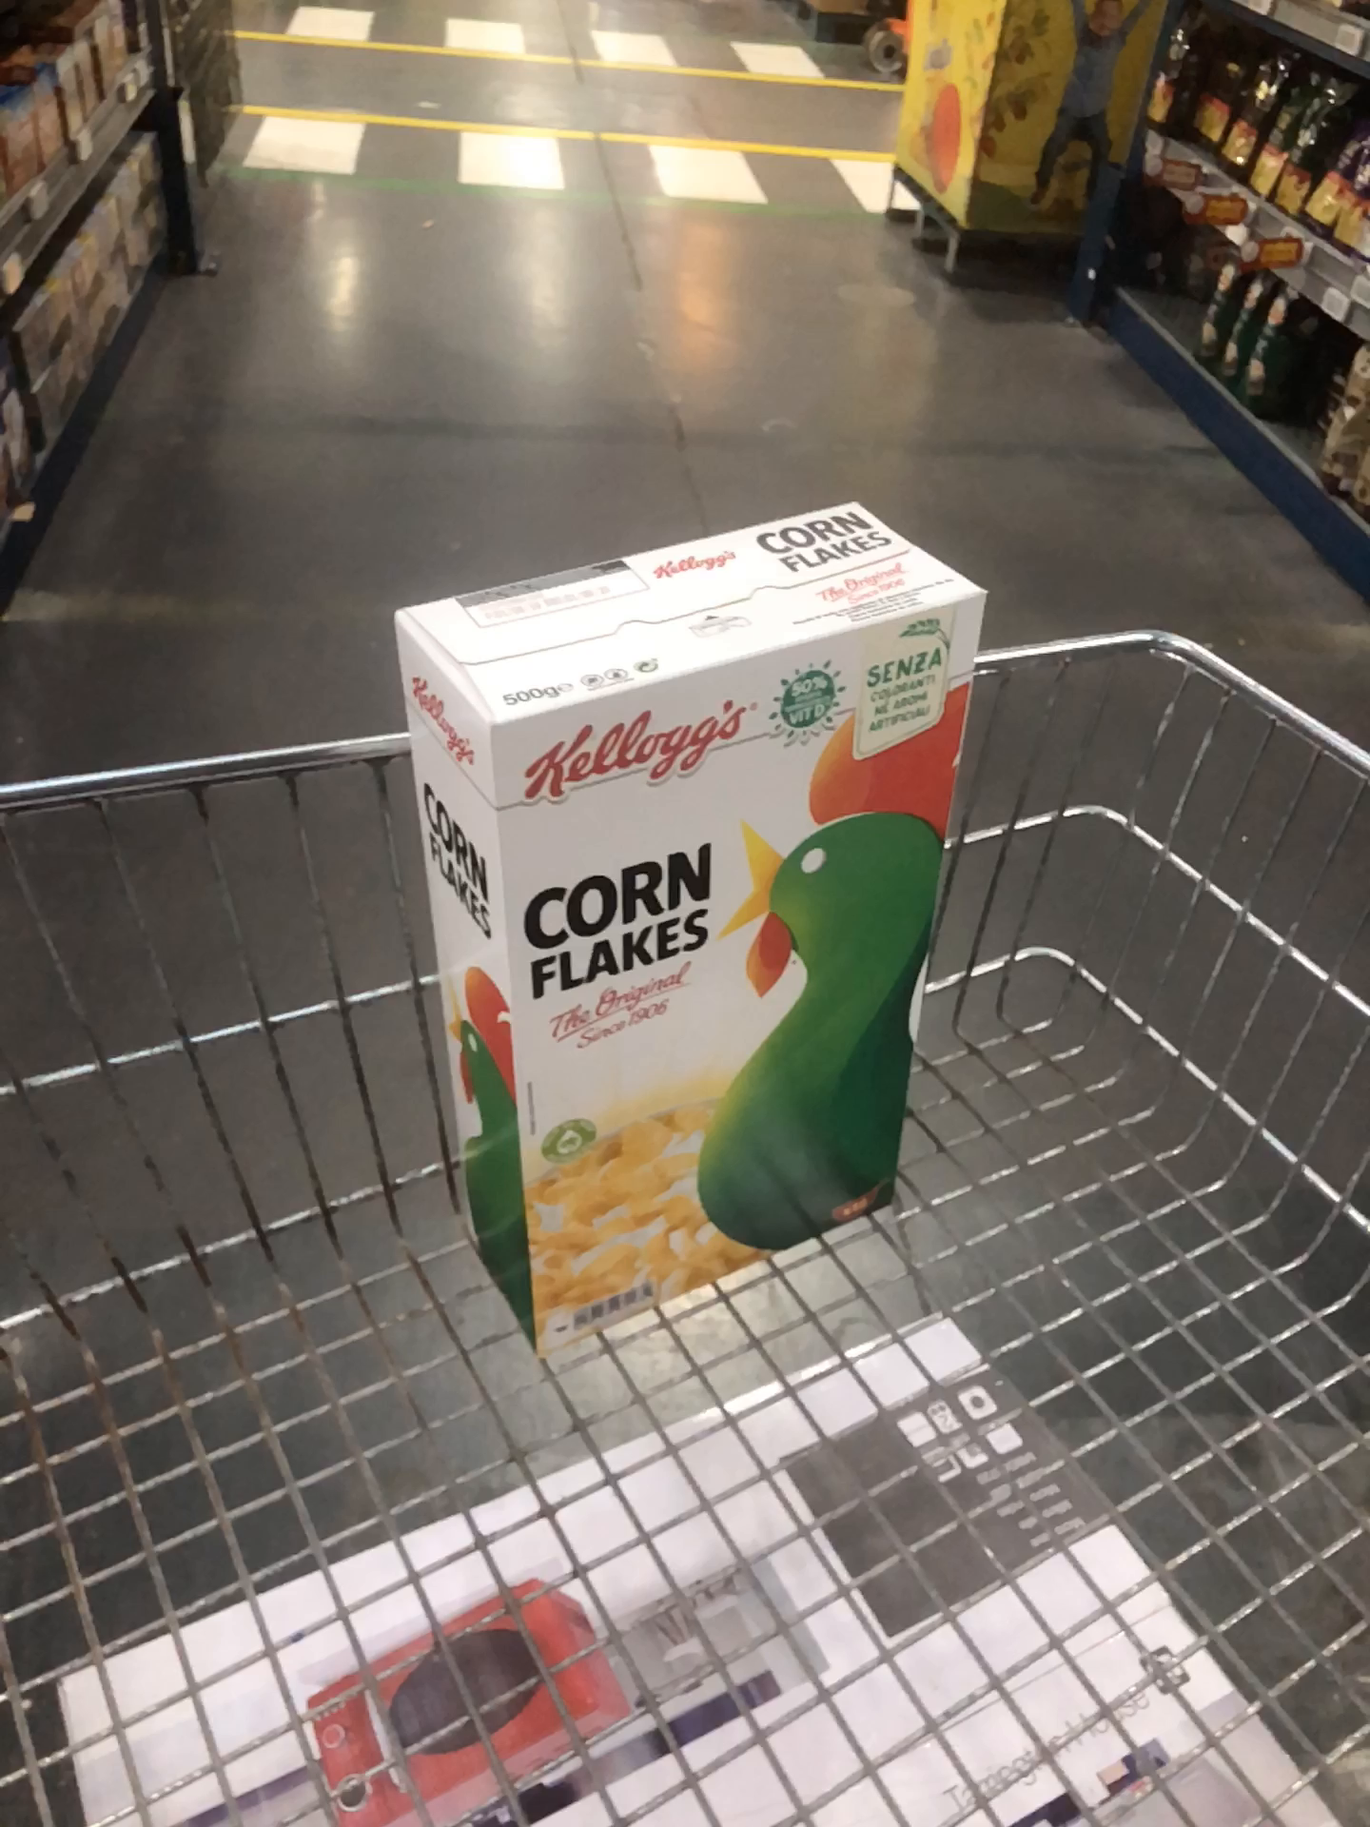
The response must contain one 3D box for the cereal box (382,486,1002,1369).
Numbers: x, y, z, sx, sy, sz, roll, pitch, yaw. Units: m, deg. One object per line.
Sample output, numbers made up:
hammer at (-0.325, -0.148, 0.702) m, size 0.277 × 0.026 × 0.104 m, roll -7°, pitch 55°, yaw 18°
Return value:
cereal box at (-0.001, 0.017, 0.619) m, size 0.190 × 0.328 × 0.090 m, roll -19°, pitch 44°, yaw -23°
